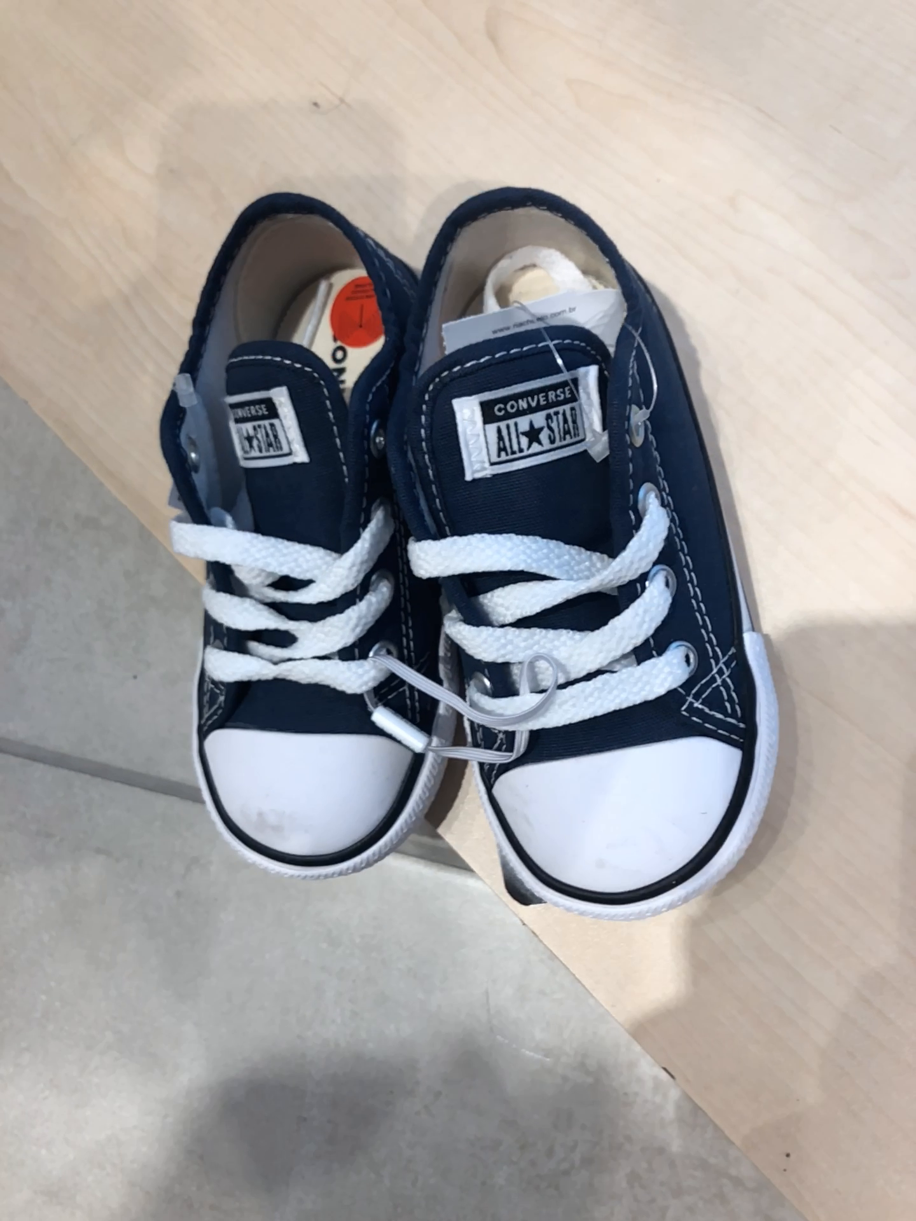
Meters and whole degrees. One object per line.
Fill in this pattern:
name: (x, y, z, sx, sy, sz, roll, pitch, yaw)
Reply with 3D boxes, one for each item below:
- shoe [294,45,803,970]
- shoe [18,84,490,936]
shoe: (0.021, -0.017, 0.227, 0.080, 0.060, 0.170, -8, 83, 16)
shoe: (-0.043, -0.021, 0.243, 0.080, 0.060, 0.170, 2, 86, 17)
